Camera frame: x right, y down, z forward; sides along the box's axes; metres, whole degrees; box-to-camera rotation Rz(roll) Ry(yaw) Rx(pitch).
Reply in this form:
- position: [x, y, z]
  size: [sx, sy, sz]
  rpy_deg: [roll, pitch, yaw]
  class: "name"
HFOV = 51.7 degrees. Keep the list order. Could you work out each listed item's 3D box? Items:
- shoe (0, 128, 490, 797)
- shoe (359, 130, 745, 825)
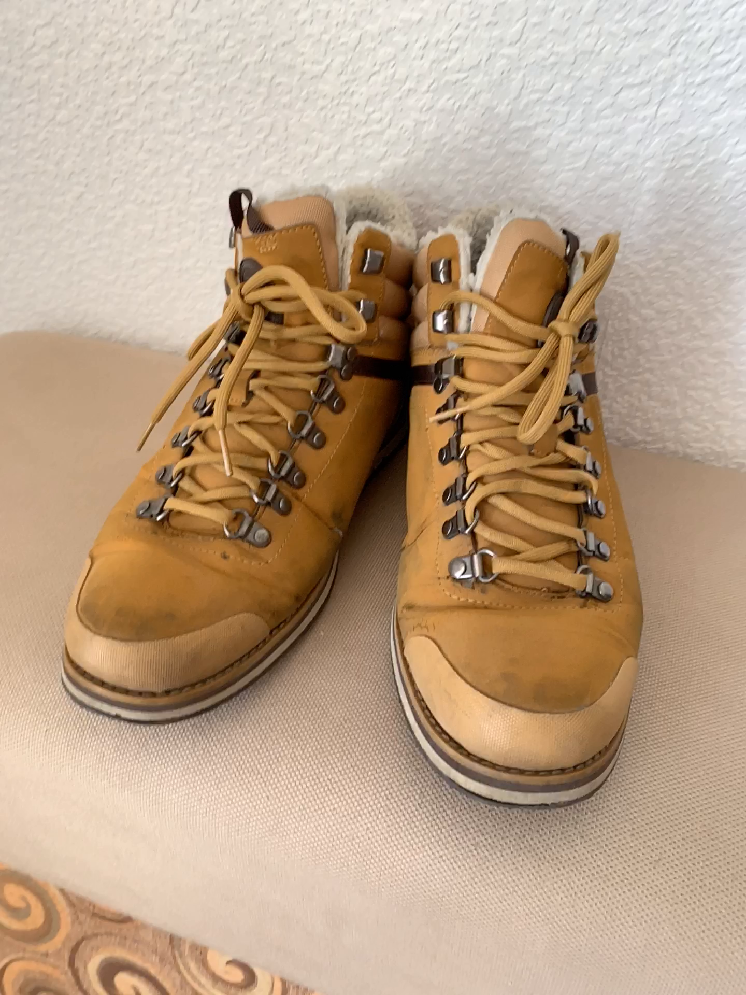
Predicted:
- position: [-0.052, -0.049, 0.367]
  size: [0.120, 0.149, 0.301]
  rpy_deg: [16, 43, 16]
  class: "shoe"
- position: [0.066, -0.037, 0.350]
  size: [0.120, 0.149, 0.302]
  rpy_deg: [2, 43, 3]
  class: "shoe"
